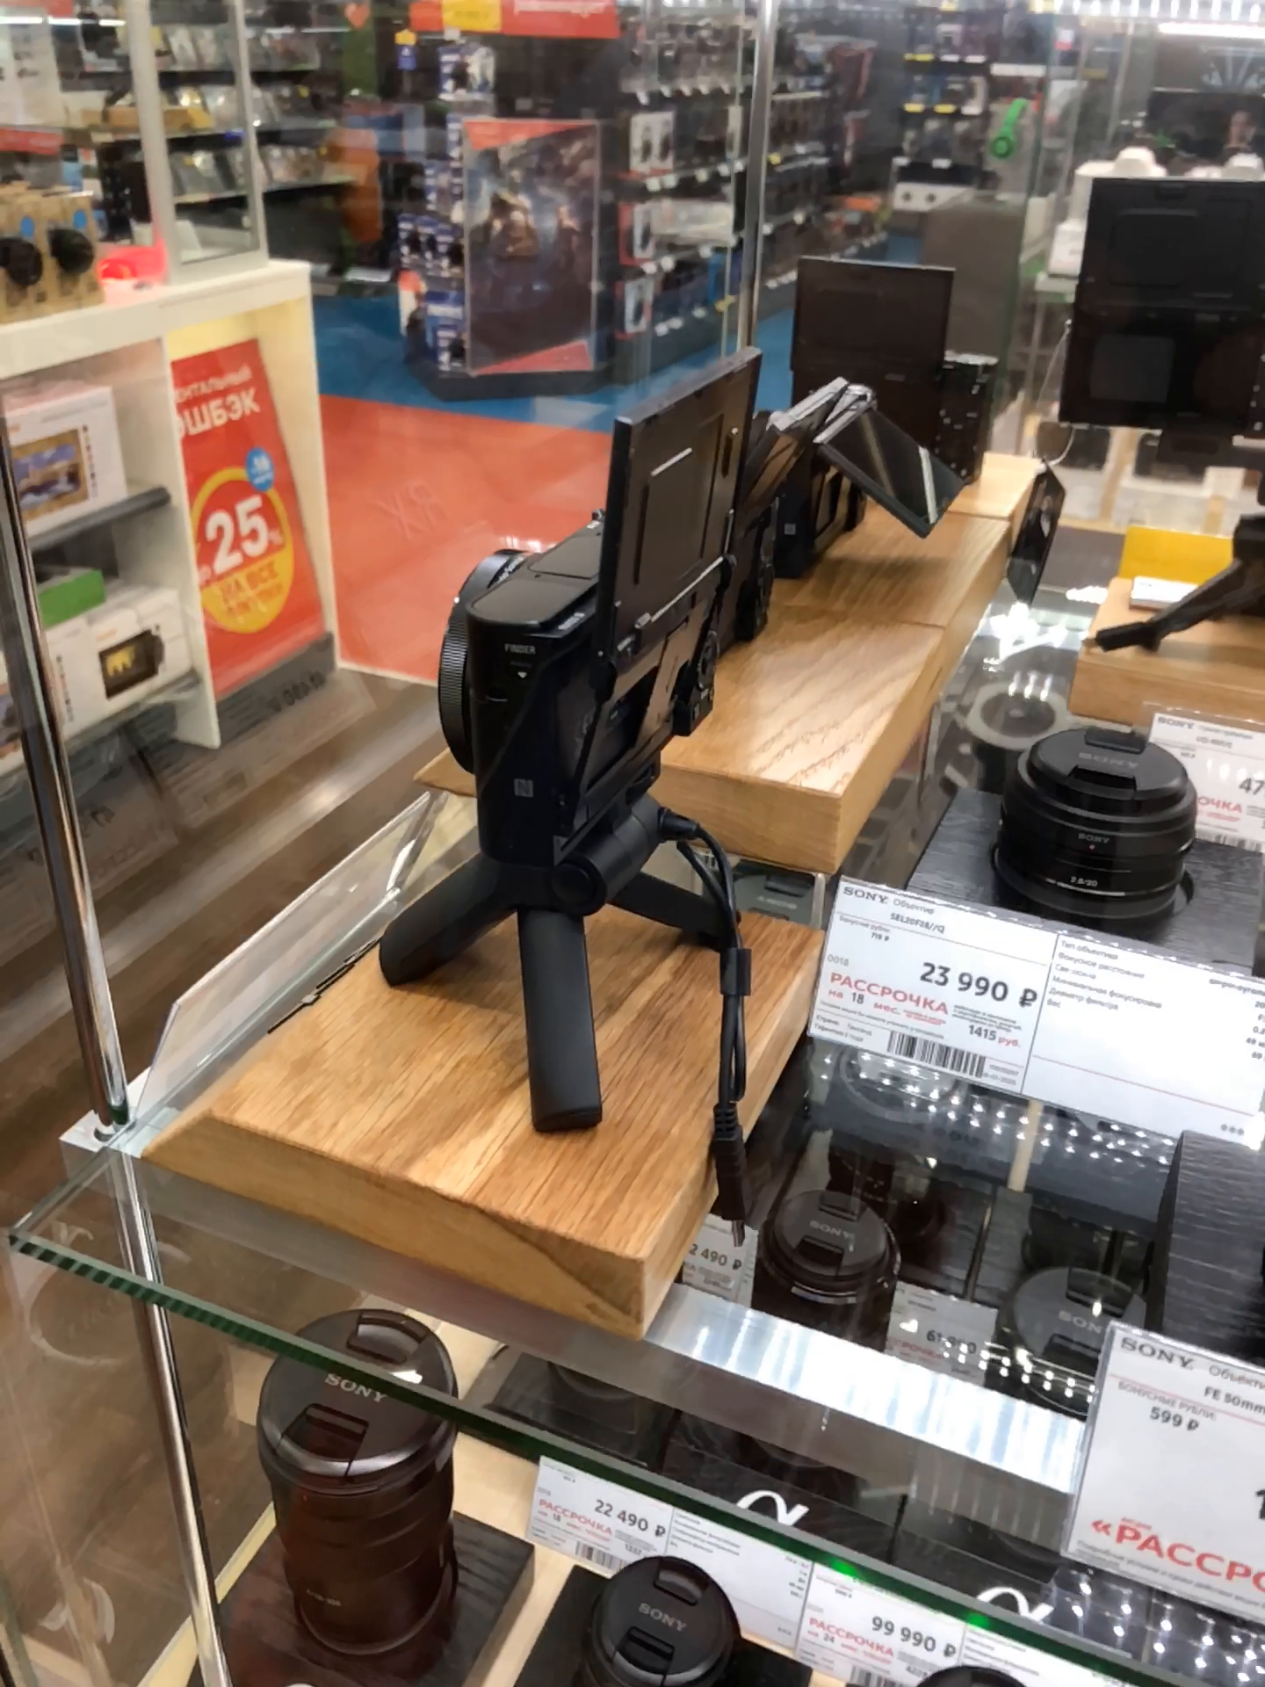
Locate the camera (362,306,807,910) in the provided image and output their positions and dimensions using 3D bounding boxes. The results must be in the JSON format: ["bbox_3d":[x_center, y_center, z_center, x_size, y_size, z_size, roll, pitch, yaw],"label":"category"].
[{"bbox_3d":[-0.007,-0.060,0.321,0.057,0.102,0.103,13,31,19],"label":"camera"}]

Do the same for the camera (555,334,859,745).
[{"bbox_3d":[0.026,-0.106,0.467,0.065,0.102,0.103,13,31,19],"label":"camera"}]
